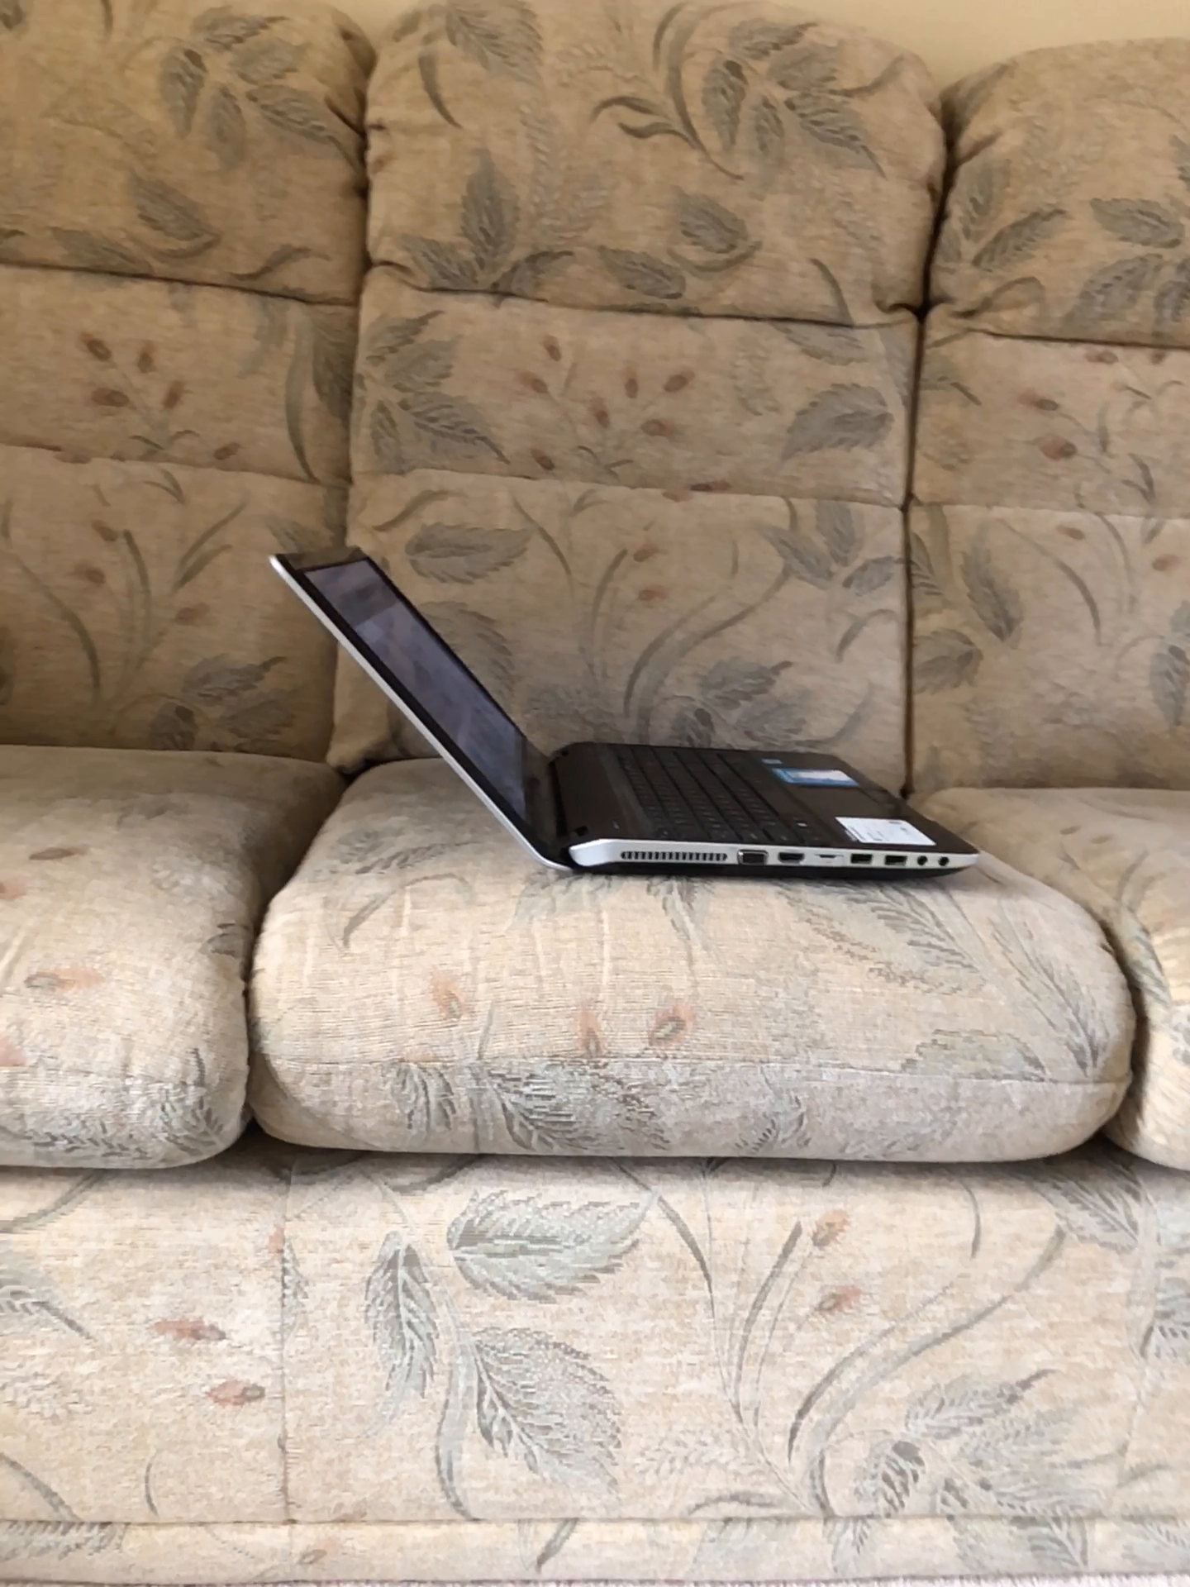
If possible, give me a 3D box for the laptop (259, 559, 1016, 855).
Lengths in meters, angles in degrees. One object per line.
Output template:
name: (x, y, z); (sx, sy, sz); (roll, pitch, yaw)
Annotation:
laptop: (0.018, -0.077, 0.923); (0.410, 0.151, 0.397); (2, 11, -5)
